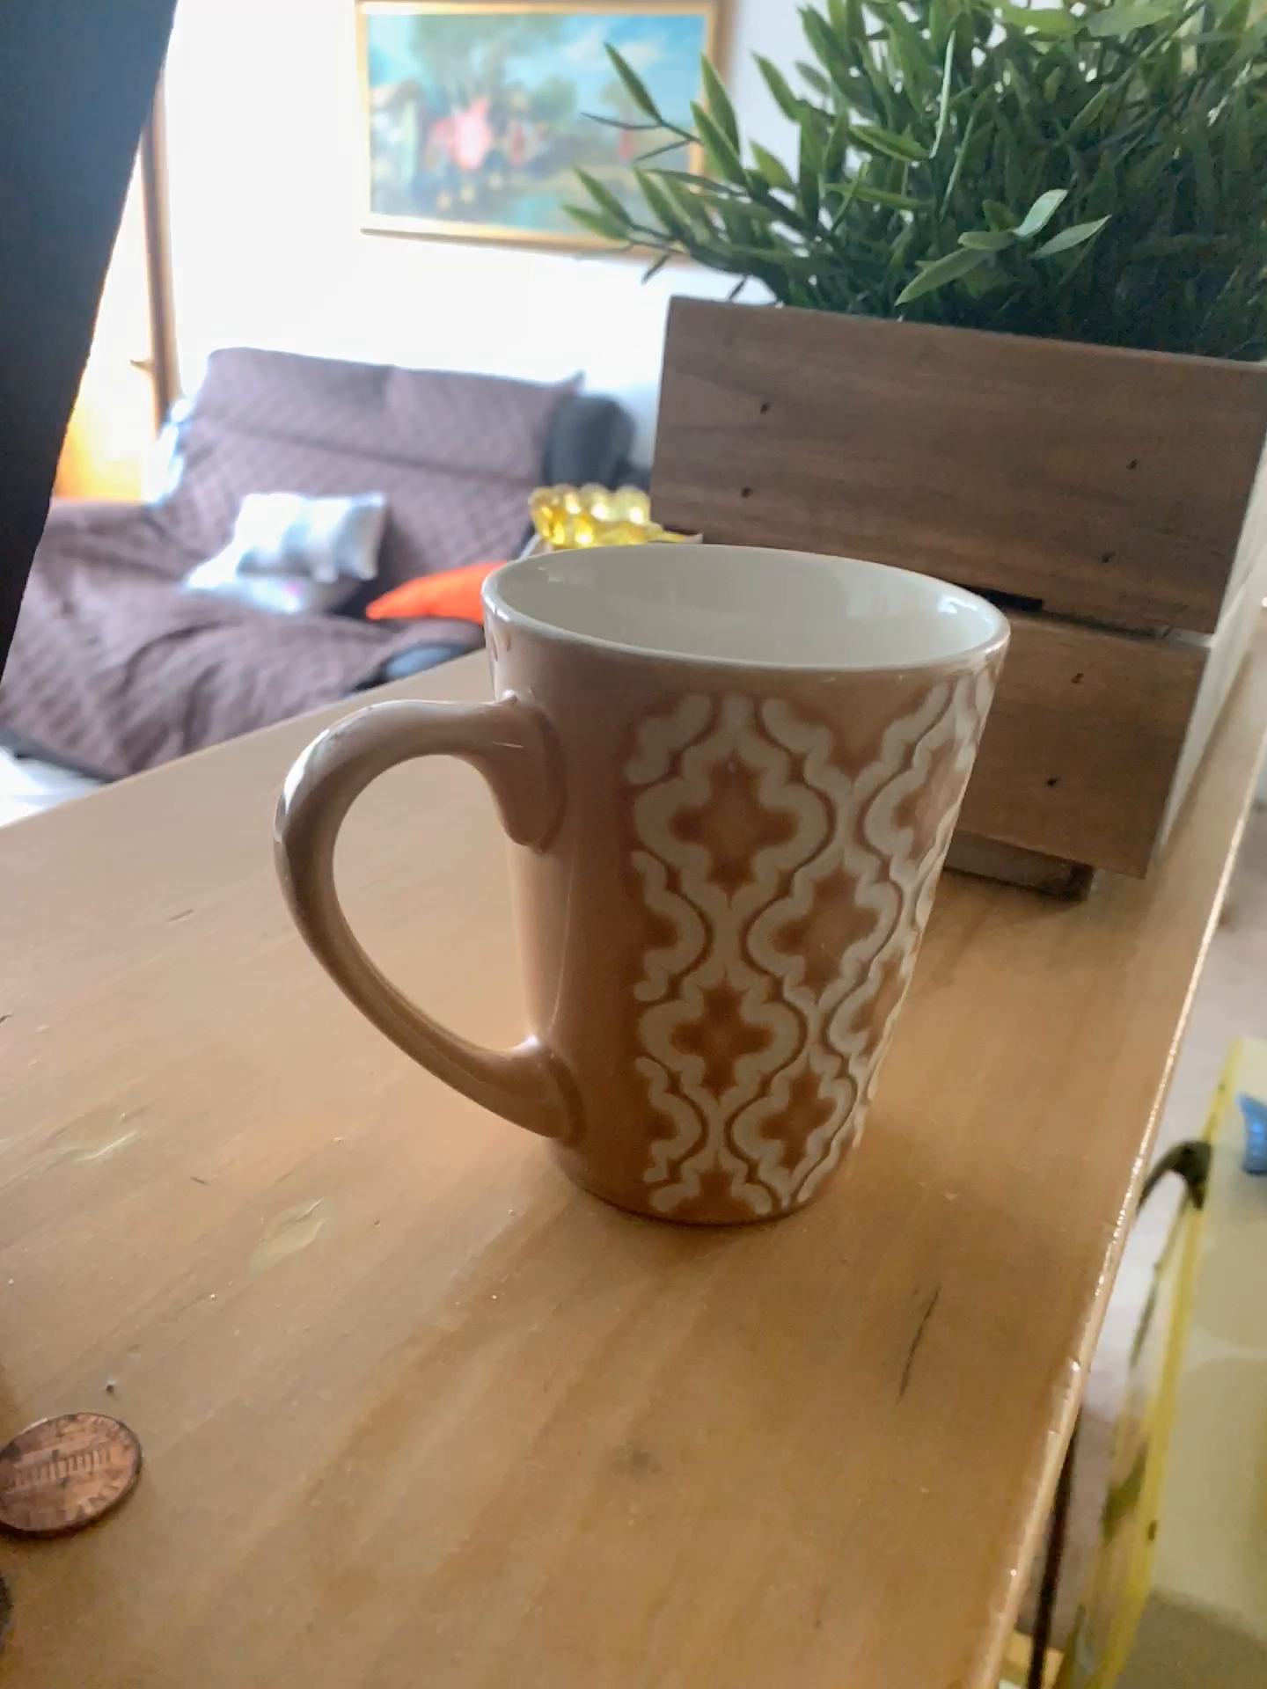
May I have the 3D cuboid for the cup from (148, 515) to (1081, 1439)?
[{"bbox_3d":[-0.008,0.008,0.233,0.120,0.109,0.090,-11,28,-32],"label":"cup"}]
